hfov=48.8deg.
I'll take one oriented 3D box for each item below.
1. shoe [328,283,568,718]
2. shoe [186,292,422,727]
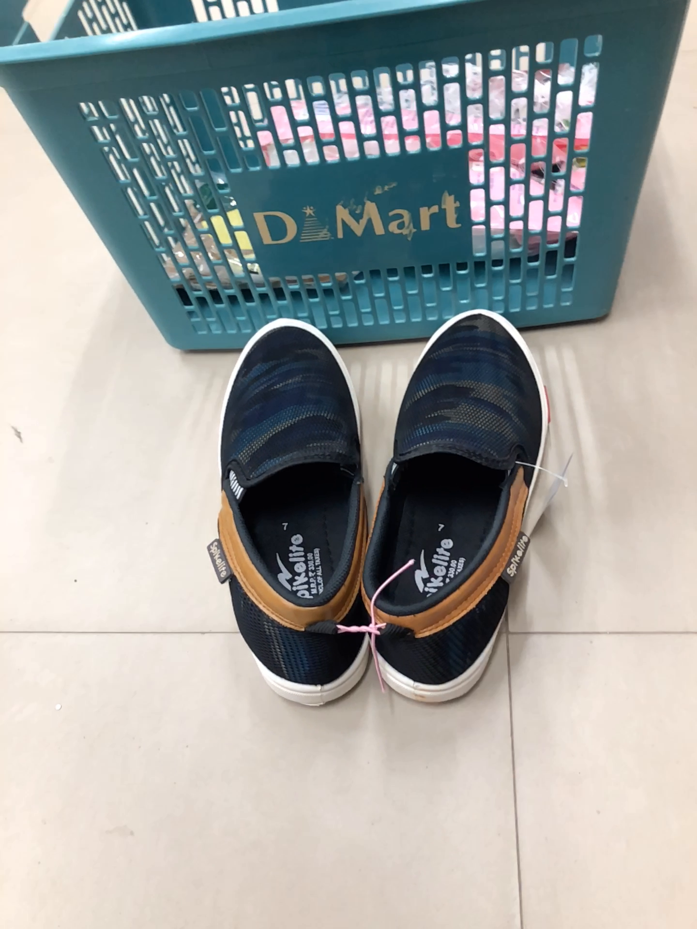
[{"bbox_3d":[0.073,0.012,0.471,0.105,0.107,0.240,4,56,14],"label":"shoe"},{"bbox_3d":[-0.033,0.022,0.488,0.105,0.107,0.240,-12,54,4],"label":"shoe"}]
